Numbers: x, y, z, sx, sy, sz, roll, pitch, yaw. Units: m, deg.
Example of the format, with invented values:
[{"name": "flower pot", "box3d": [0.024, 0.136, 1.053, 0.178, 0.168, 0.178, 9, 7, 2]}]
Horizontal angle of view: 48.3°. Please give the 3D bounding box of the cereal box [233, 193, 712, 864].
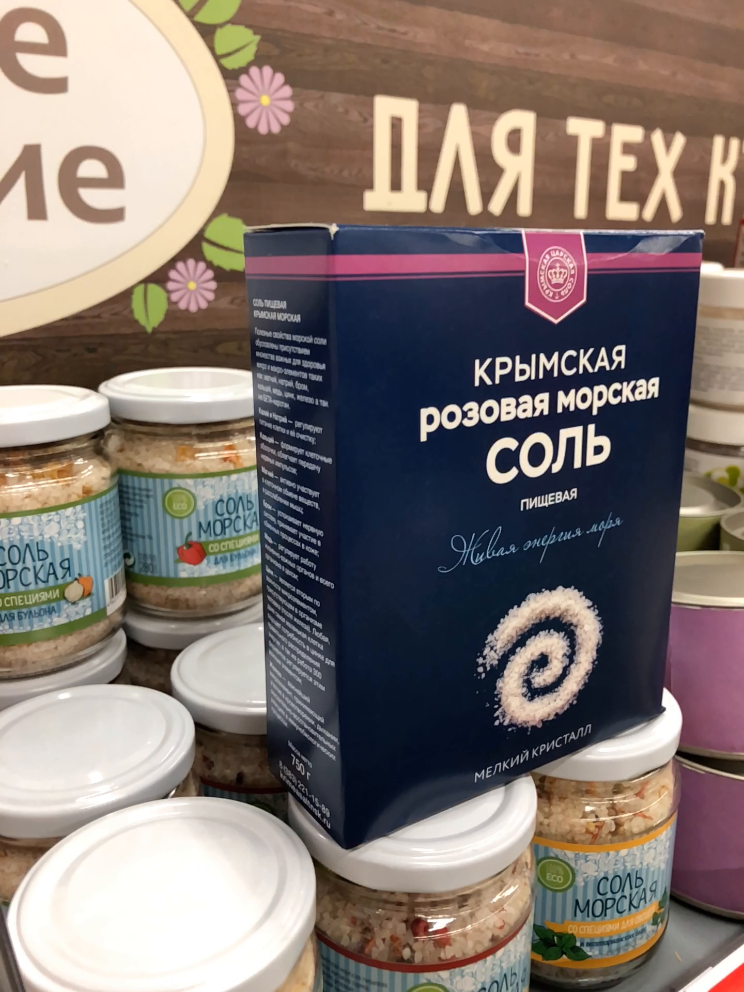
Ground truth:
[{"name": "cereal box", "box3d": [0.029, 0.001, 0.224, 0.120, 0.149, 0.040, -10, 18, -32]}]
